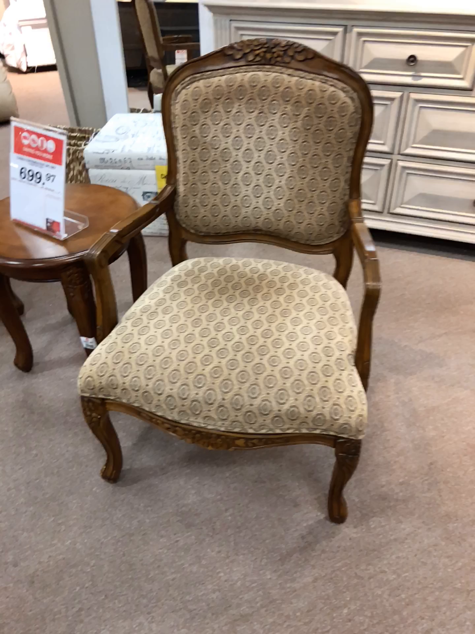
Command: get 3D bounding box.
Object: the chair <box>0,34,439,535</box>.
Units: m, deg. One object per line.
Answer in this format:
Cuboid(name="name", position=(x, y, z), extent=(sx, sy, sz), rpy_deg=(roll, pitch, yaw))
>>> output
Cuboid(name="chair", position=(-0.004, -0.096, 1.406), extent=(0.780, 1.062, 0.705), rpy_deg=(7, 39, 11))
